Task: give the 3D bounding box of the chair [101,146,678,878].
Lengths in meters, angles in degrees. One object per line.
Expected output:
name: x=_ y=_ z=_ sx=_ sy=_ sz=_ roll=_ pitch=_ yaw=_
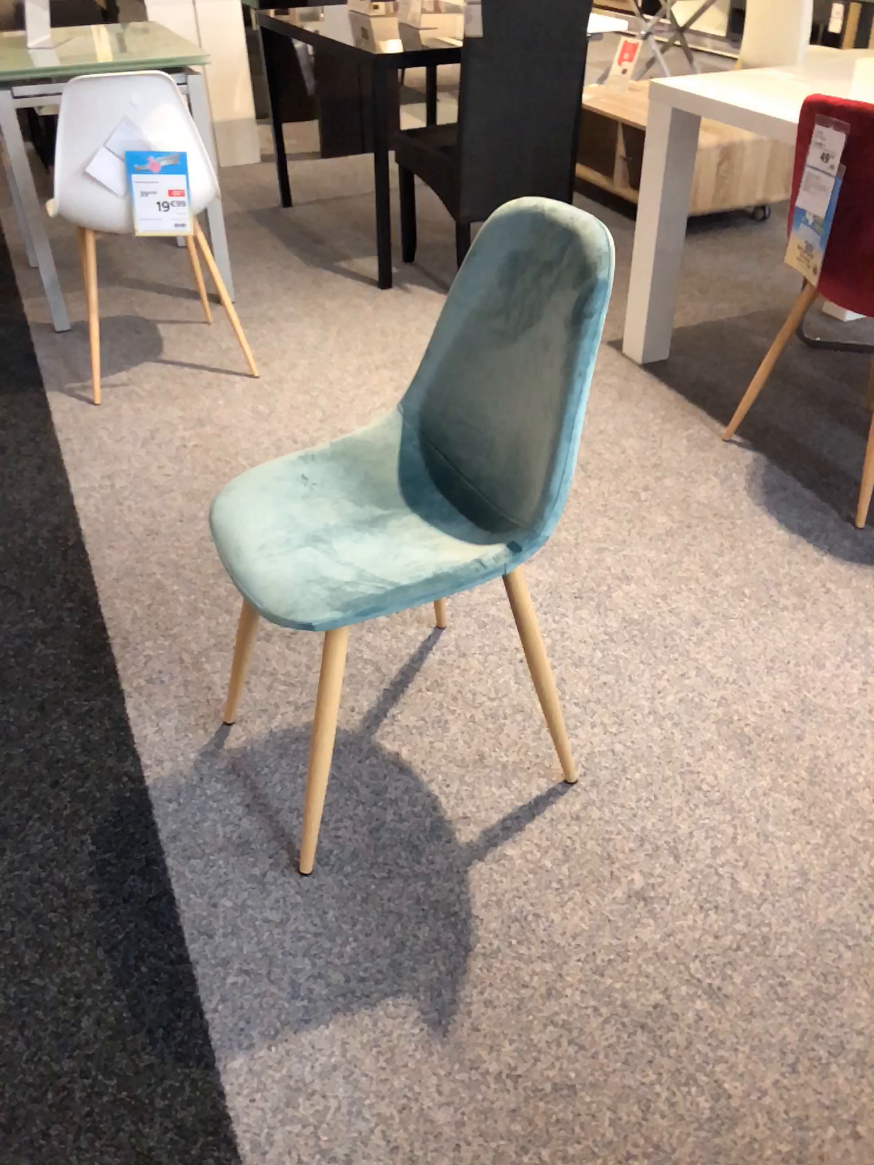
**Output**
chair: x=-0.078 y=-0.115 z=1.393 sx=0.552 sy=0.835 sz=0.472 roll=-16 pitch=38 yaw=-21
